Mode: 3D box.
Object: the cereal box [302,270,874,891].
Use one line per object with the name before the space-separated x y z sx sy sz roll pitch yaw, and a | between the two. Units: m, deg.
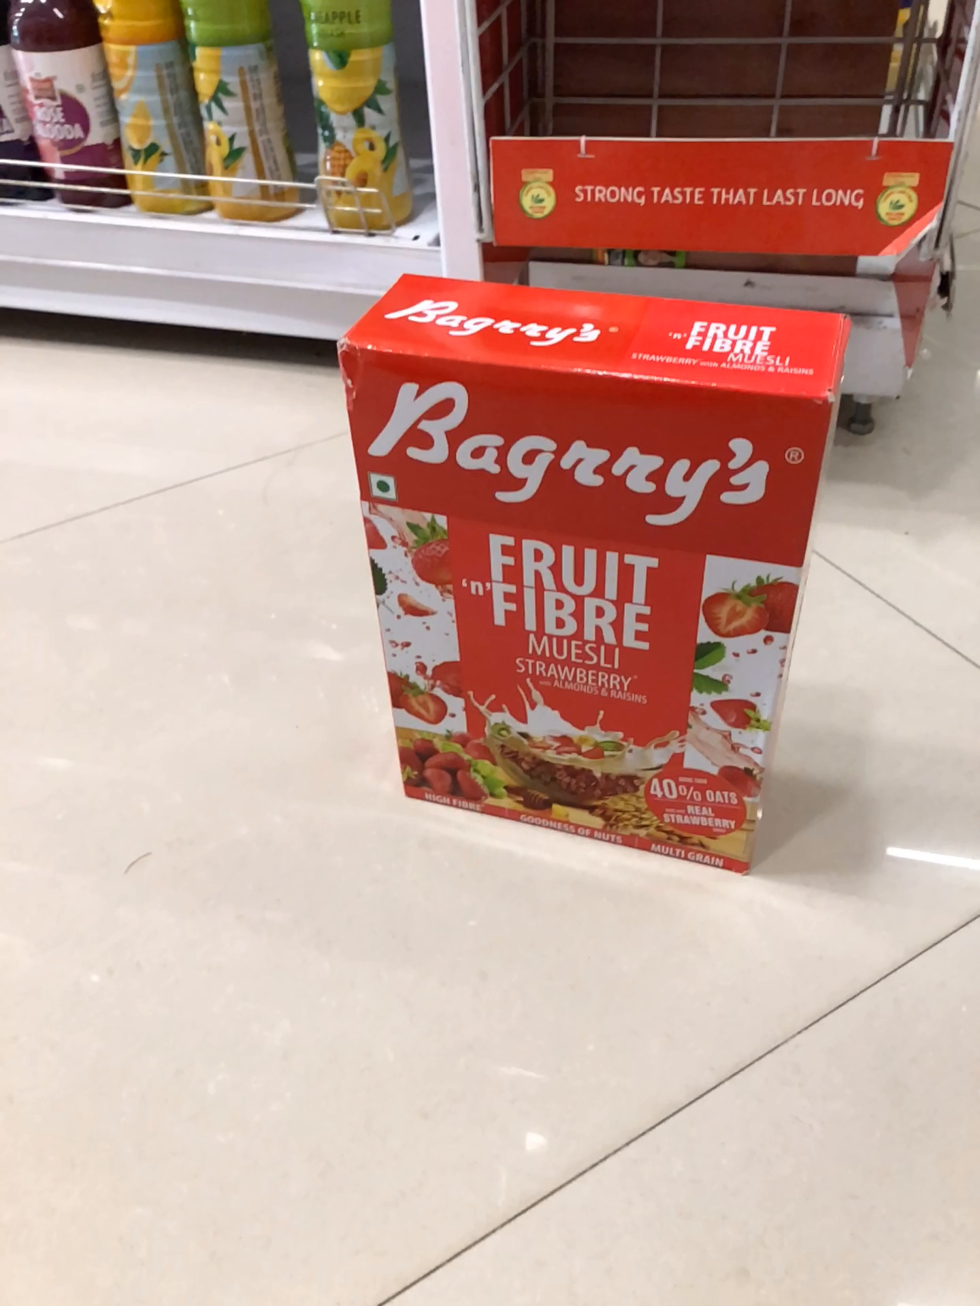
cereal box | 0.042 -0.023 0.486 0.200 0.258 0.070 10 43 15
